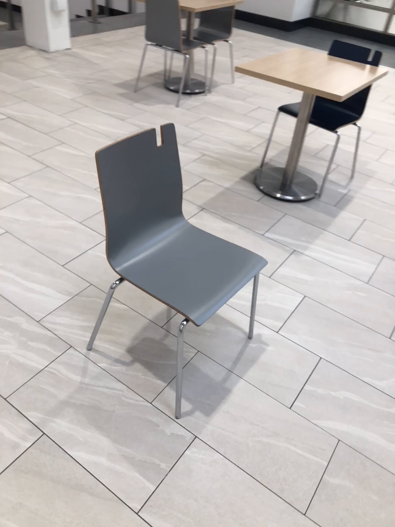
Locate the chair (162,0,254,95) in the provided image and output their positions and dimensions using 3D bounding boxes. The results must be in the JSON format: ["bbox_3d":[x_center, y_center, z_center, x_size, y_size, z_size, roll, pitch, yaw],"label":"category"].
[{"bbox_3d":[0.073,-1.987,3.825,0.555,0.737,0.487,29,43,24],"label":"chair"}]

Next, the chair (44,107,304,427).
[{"bbox_3d":[-0.085,-0.003,1.466,0.516,0.787,0.526,29,43,25],"label":"chair"}]

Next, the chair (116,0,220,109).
[{"bbox_3d":[-0.243,-1.720,3.451,0.574,0.707,0.537,24,41,19],"label":"chair"}]

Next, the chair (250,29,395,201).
[{"bbox_3d":[0.752,-0.903,2.620,0.515,0.777,0.537,34,46,30],"label":"chair"}]
